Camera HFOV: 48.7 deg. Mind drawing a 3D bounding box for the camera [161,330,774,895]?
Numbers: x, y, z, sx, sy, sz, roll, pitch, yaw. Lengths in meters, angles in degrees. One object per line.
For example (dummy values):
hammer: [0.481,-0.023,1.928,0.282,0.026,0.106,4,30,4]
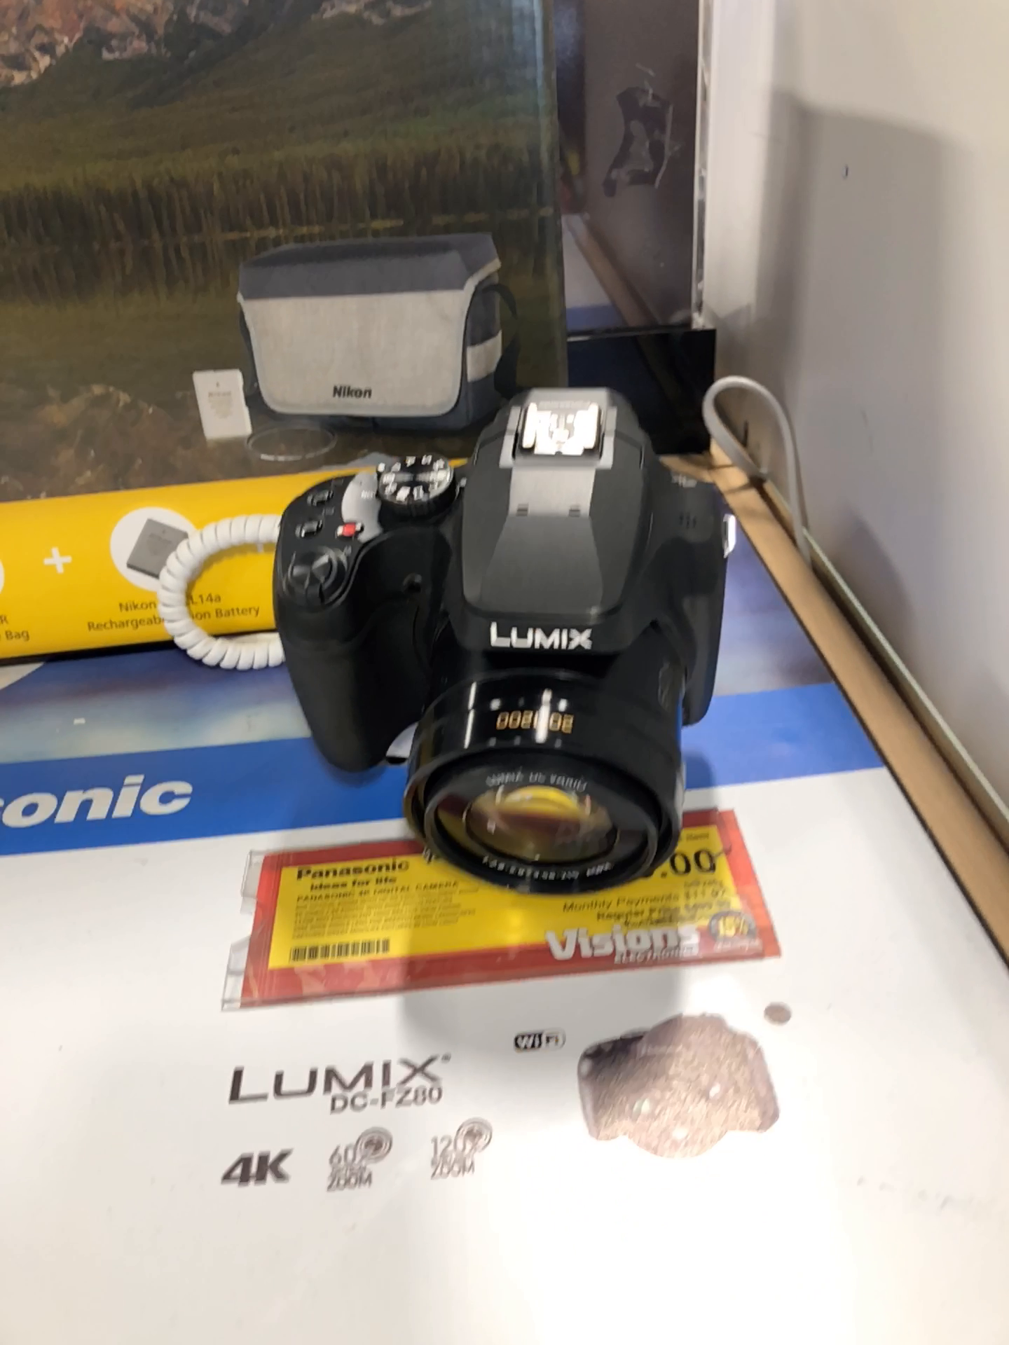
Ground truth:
camera: [-0.001,-0.015,0.286,0.120,0.099,0.101,0,45,7]
